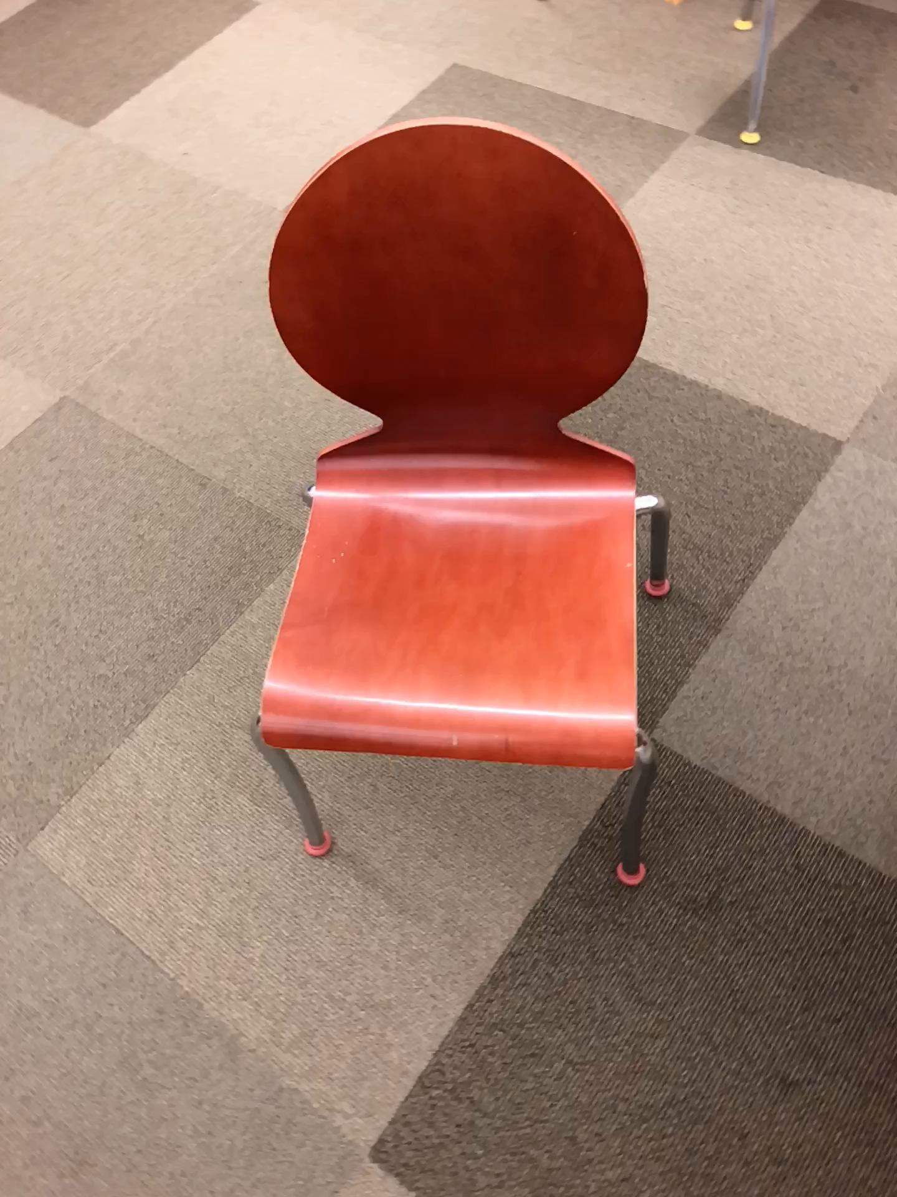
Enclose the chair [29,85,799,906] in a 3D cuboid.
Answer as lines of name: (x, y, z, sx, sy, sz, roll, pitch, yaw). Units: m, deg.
chair: (0.029, -0.050, 1.043, 0.488, 0.721, 0.488, 3, 57, 9)
